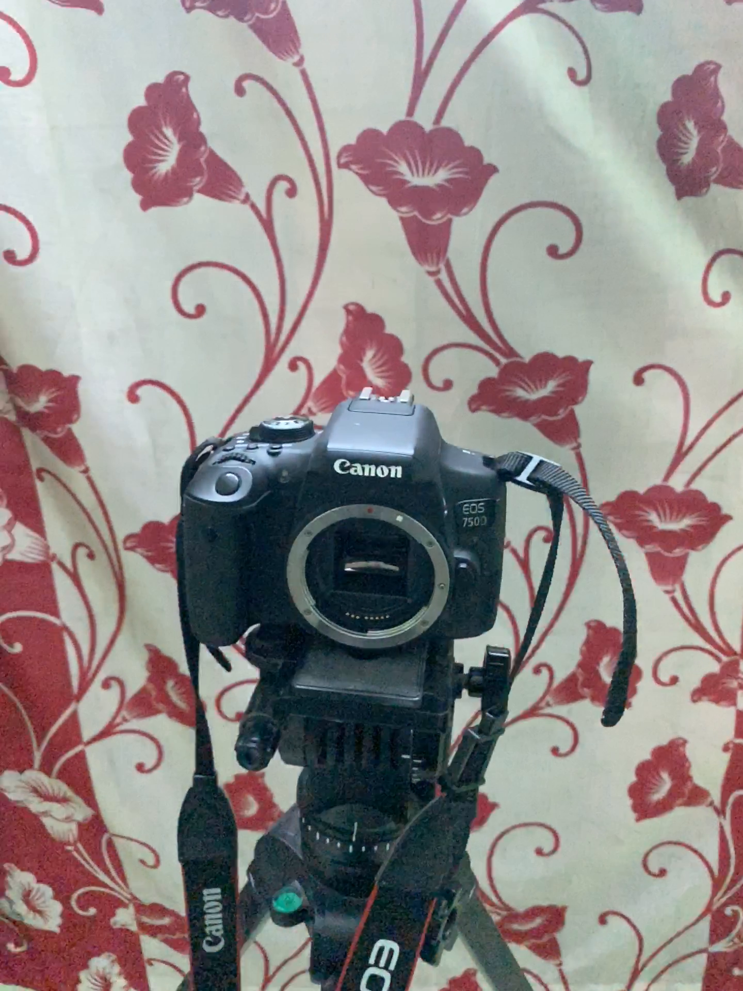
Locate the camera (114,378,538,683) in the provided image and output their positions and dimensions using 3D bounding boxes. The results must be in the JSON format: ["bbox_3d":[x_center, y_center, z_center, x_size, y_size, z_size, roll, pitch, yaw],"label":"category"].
[{"bbox_3d":[-0.013,0.008,0.310,0.142,0.088,0.085,3,21,5],"label":"camera"}]
